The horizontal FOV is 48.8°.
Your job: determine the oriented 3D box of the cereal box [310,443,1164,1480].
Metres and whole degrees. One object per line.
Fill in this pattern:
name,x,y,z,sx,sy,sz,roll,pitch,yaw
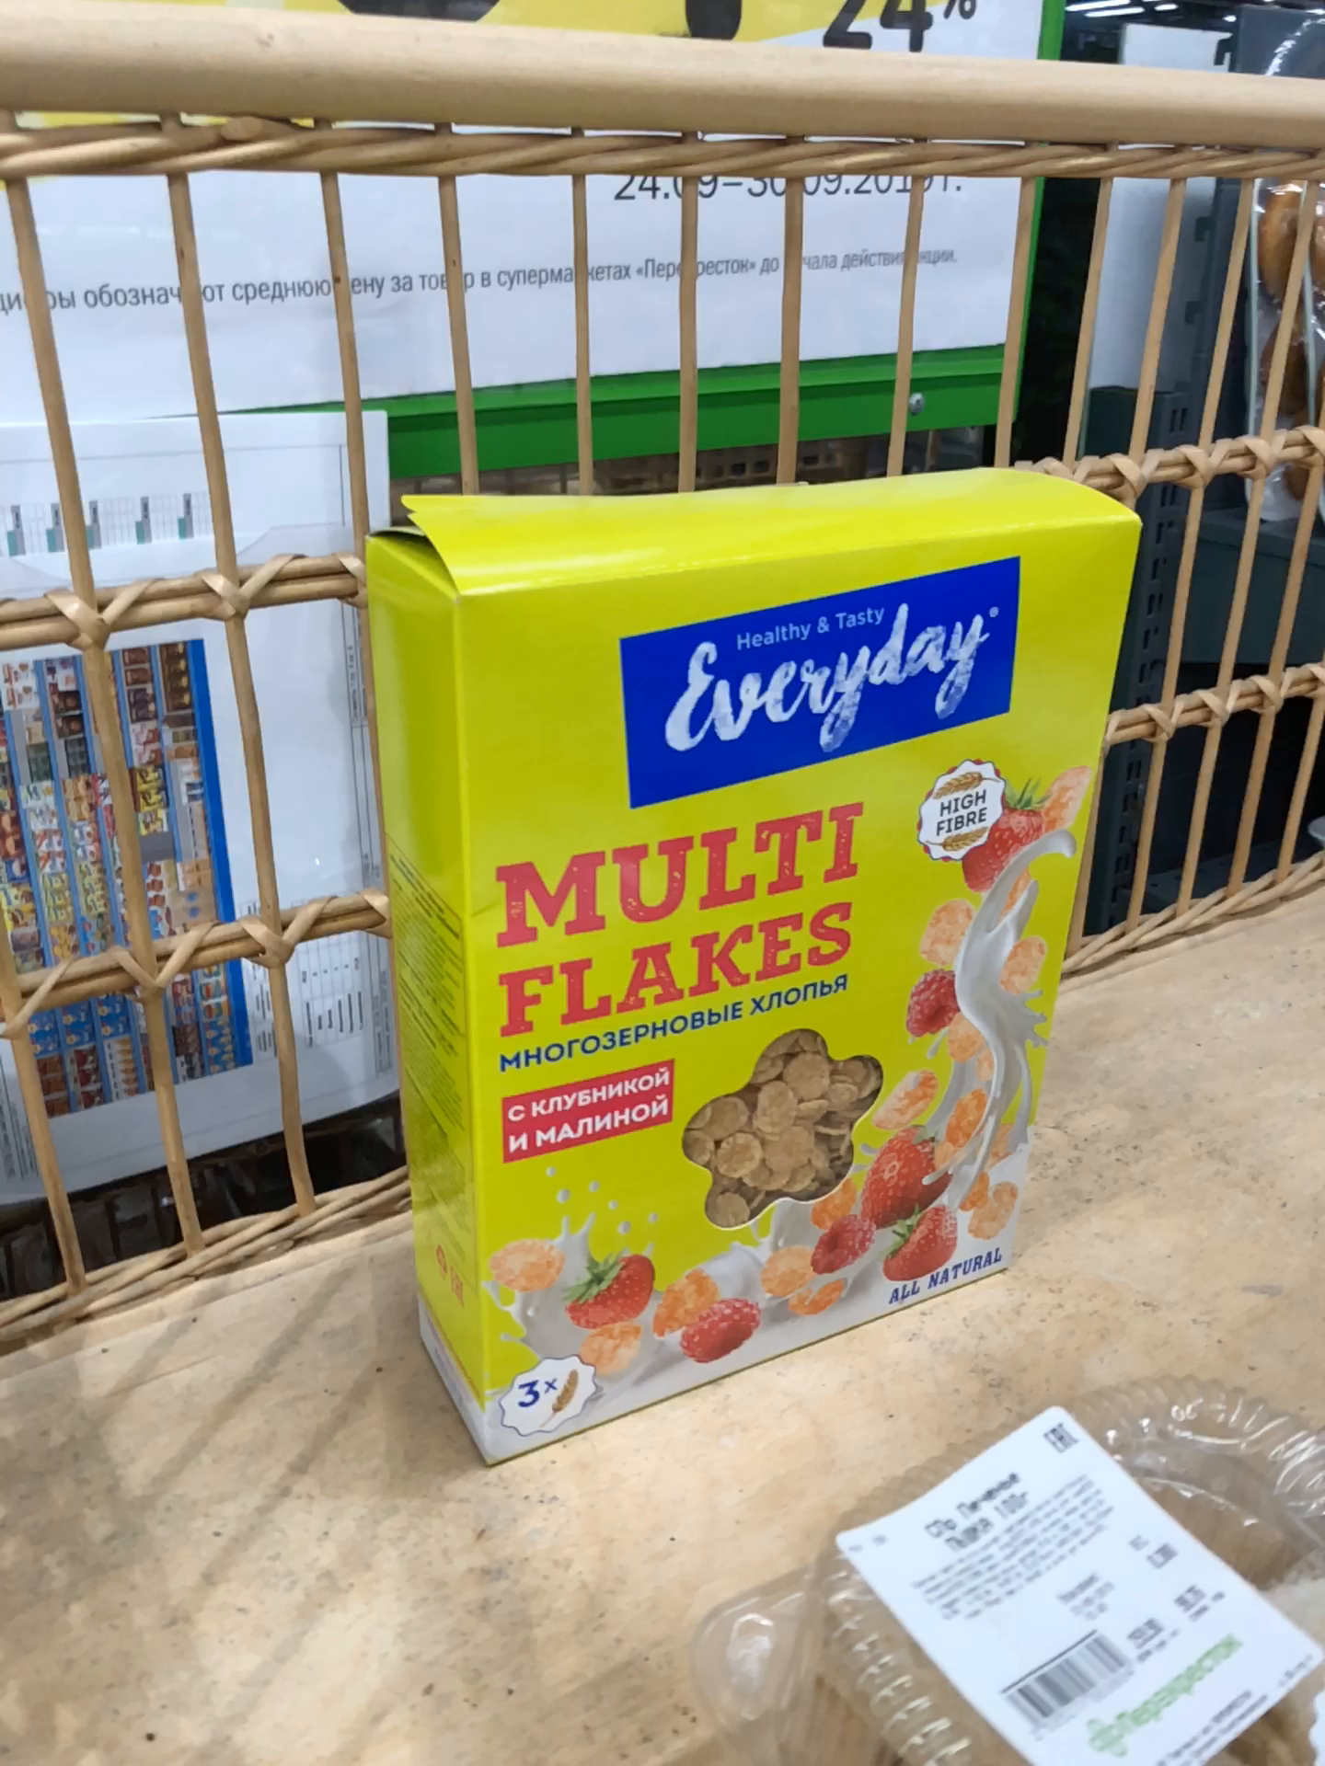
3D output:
cereal box,0.017,0.017,0.372,0.180,0.229,0.060,-12,30,-24
